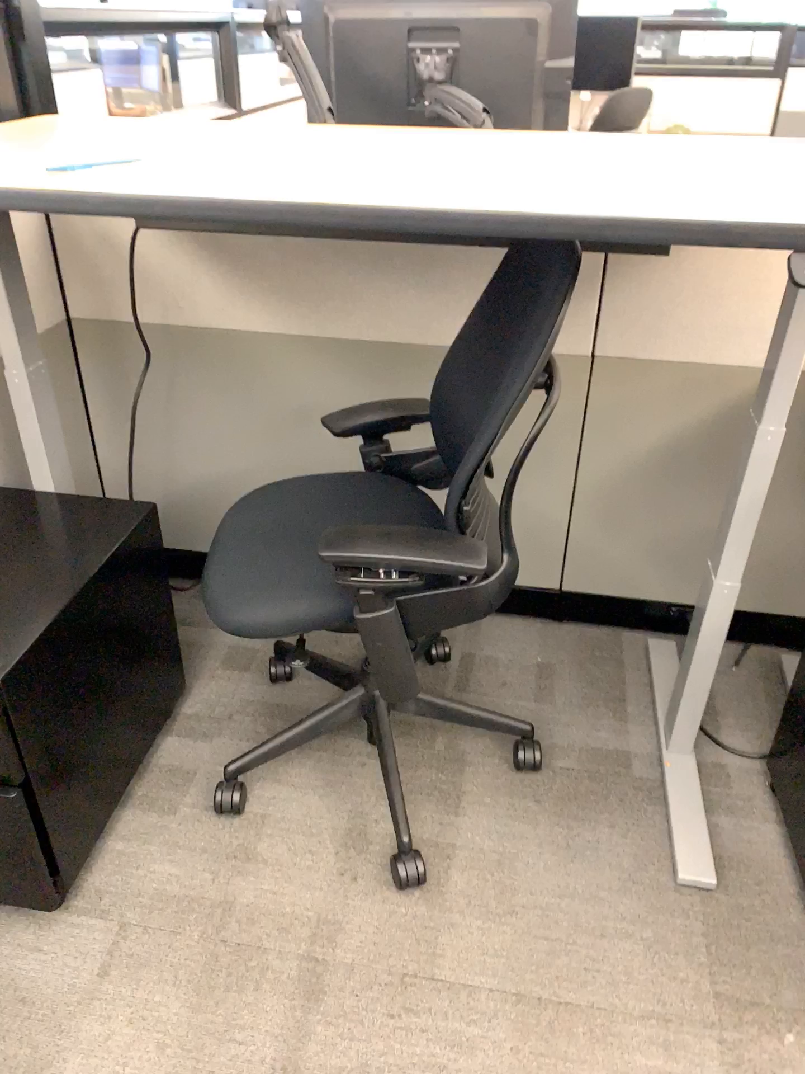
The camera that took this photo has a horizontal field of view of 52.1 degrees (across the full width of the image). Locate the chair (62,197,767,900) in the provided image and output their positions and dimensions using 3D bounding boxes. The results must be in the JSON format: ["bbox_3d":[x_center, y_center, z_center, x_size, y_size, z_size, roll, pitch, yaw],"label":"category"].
[{"bbox_3d":[-0.019,-0.012,1.465,0.760,0.954,0.785,1,31,-4],"label":"chair"}]
